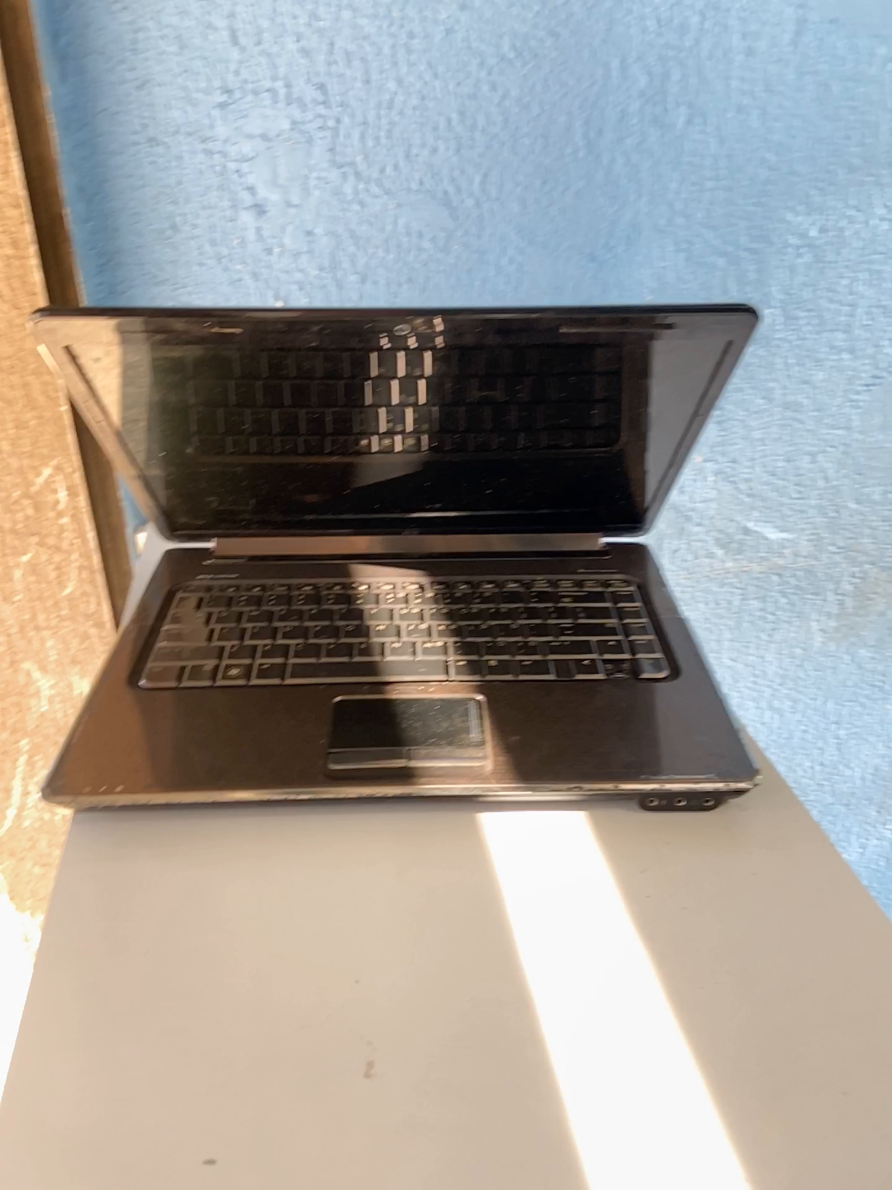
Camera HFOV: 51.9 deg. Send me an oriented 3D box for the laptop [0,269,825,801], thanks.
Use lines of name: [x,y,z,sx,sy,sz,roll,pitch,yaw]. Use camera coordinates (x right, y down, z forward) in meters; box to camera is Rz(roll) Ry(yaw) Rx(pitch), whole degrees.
laptop: [-0.027,-0.052,0.504,0.344,0.190,0.246,-1,30,-1]
